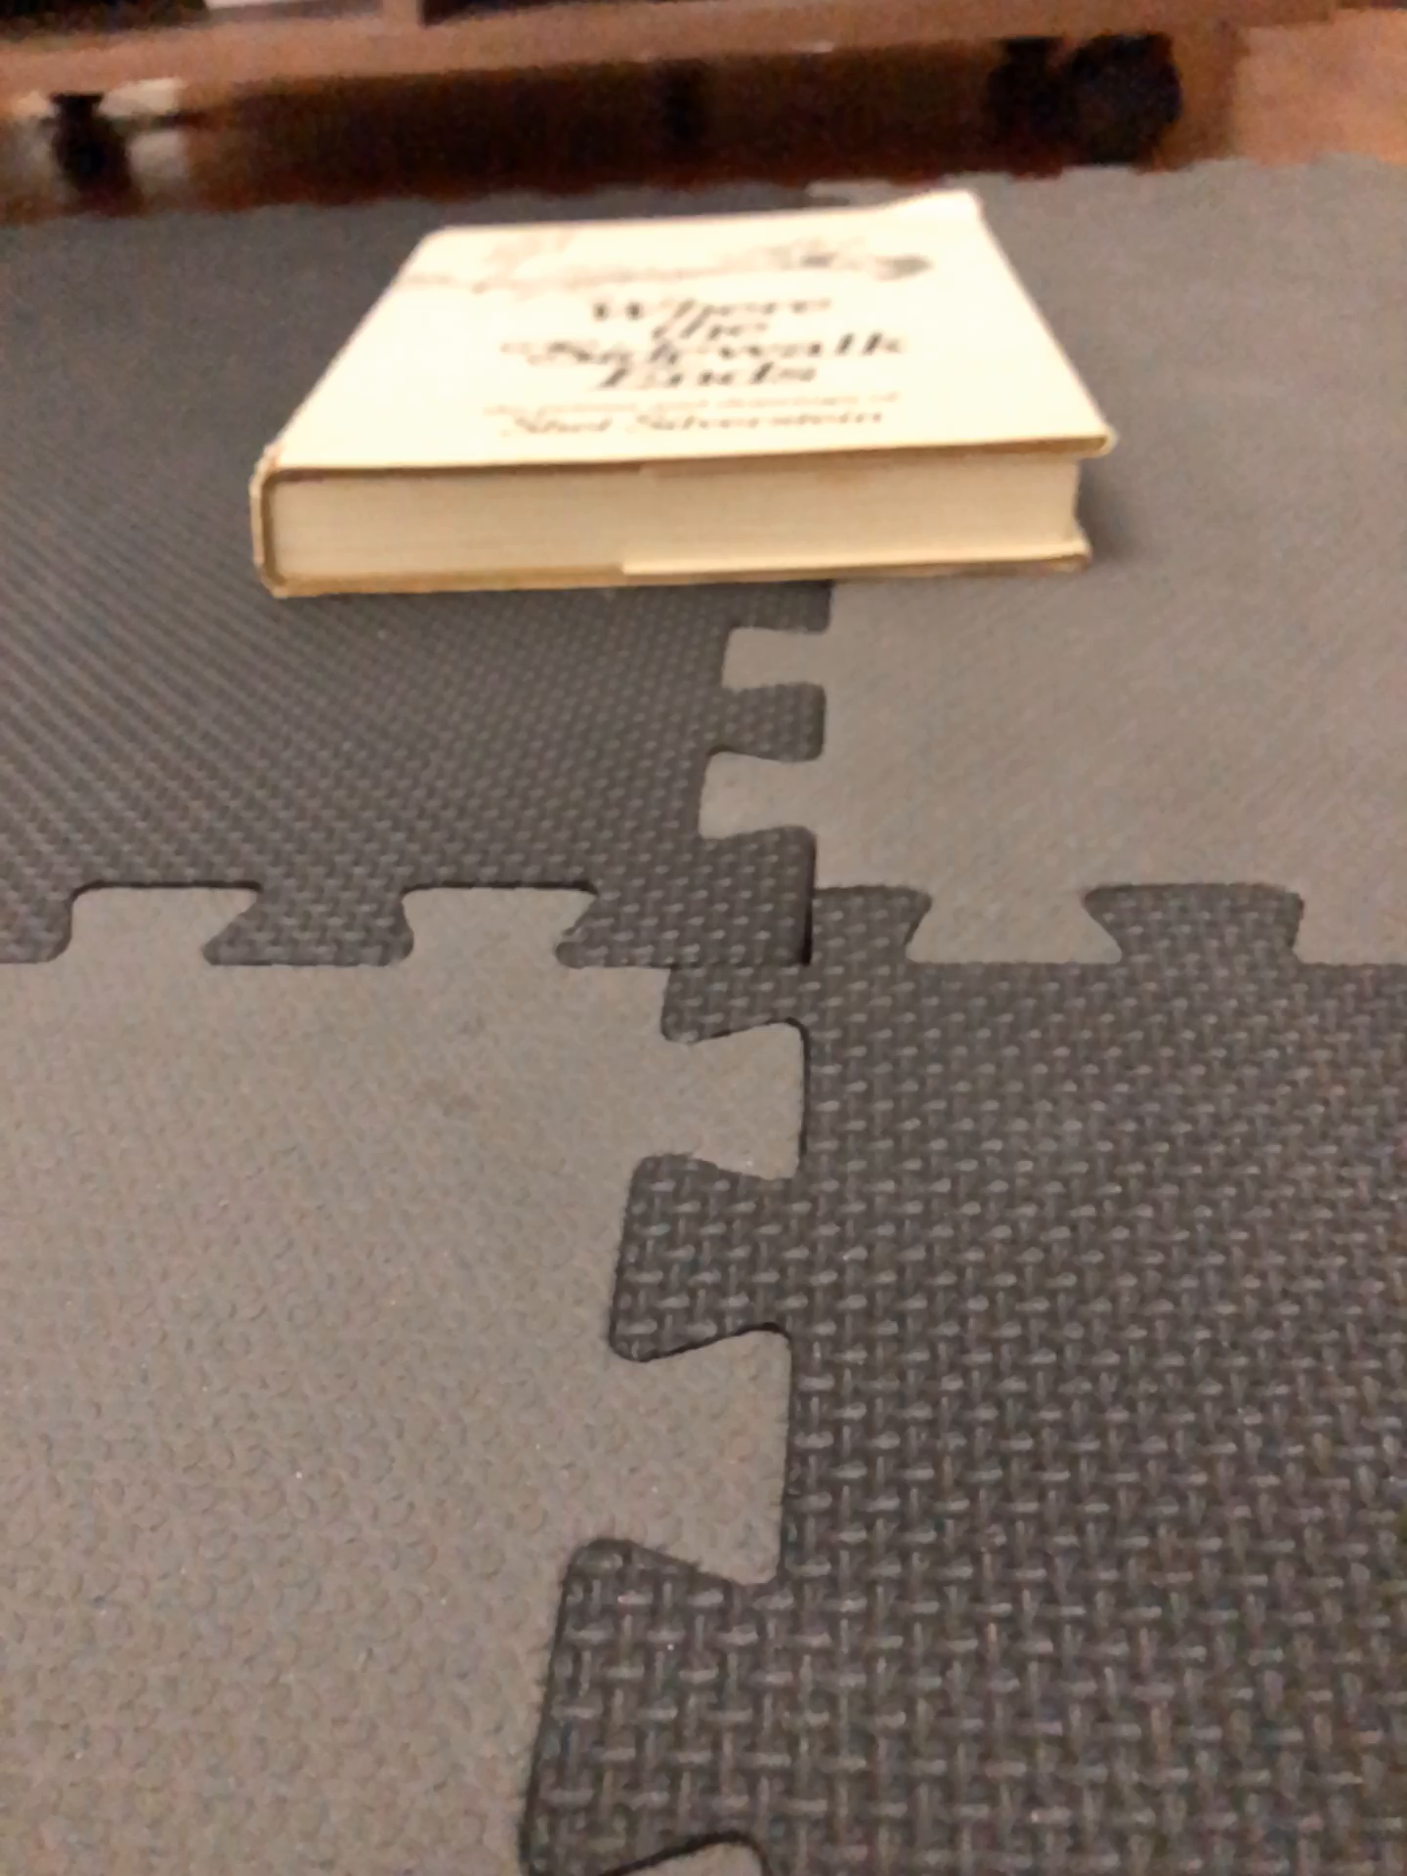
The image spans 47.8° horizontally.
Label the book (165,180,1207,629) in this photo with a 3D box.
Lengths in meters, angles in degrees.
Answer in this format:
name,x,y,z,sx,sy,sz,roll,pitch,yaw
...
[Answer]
name,x,y,z,sx,sy,sz,roll,pitch,yaw
book,0.000,-0.158,0.428,0.200,0.030,0.282,-2,34,4
